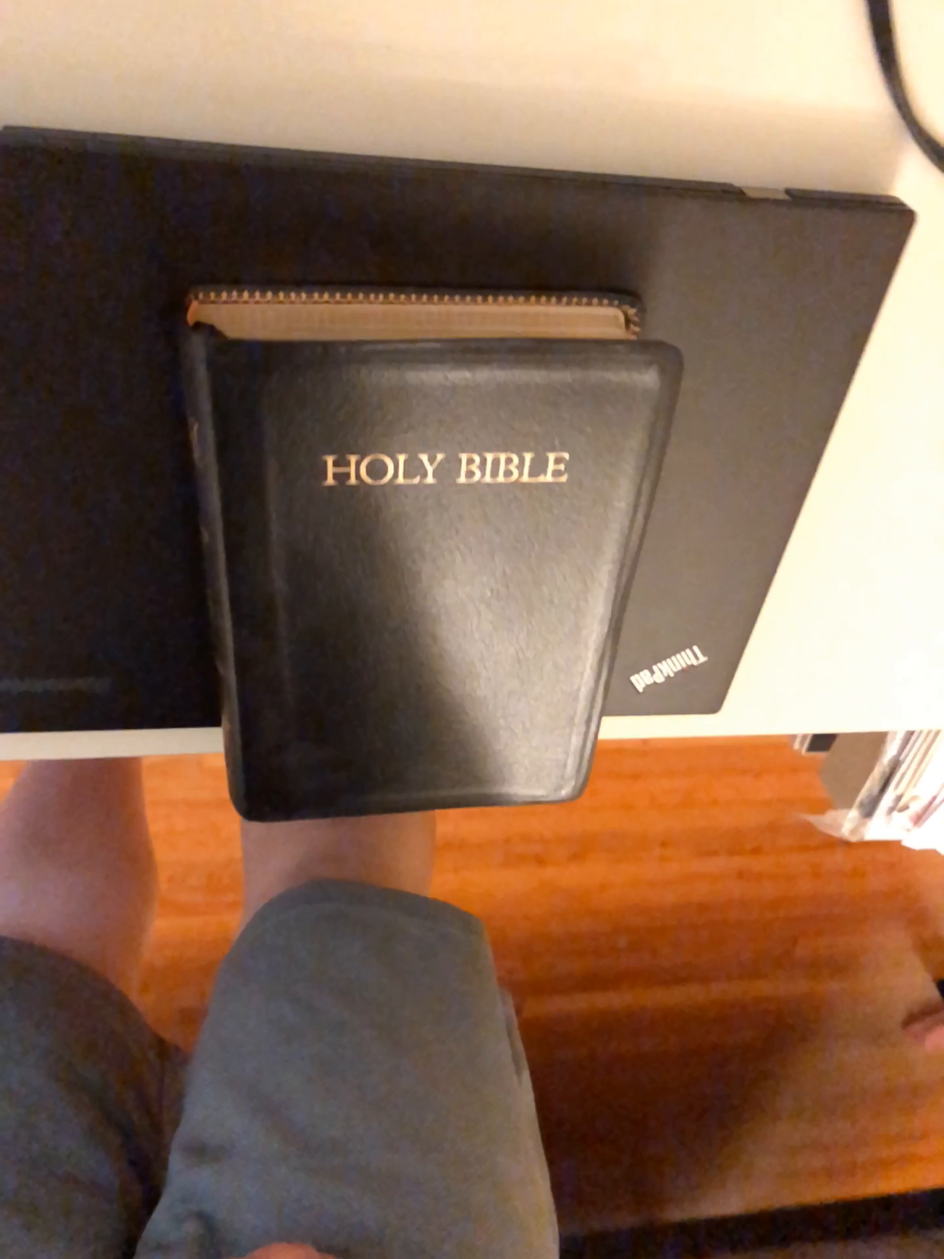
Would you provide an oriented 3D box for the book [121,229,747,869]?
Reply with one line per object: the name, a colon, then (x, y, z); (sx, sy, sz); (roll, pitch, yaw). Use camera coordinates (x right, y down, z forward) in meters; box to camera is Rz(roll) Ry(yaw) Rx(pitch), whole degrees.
book: (-0.019, -0.012, 0.373); (0.170, 0.040, 0.241); (-2, 130, -10)
